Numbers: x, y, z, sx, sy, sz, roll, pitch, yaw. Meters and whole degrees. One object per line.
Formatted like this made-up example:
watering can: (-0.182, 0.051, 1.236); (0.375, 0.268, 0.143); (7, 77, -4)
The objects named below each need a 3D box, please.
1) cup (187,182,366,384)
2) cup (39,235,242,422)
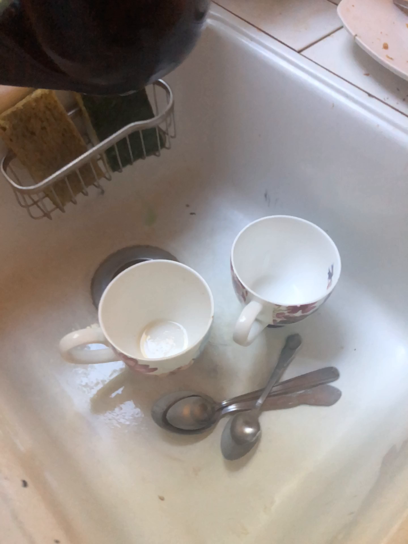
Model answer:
cup: (0.069, 0.006, 0.436); (0.110, 0.070, 0.151); (25, 60, 14)
cup: (-0.055, 0.047, 0.403); (0.140, 0.070, 0.100); (-21, 60, -15)
